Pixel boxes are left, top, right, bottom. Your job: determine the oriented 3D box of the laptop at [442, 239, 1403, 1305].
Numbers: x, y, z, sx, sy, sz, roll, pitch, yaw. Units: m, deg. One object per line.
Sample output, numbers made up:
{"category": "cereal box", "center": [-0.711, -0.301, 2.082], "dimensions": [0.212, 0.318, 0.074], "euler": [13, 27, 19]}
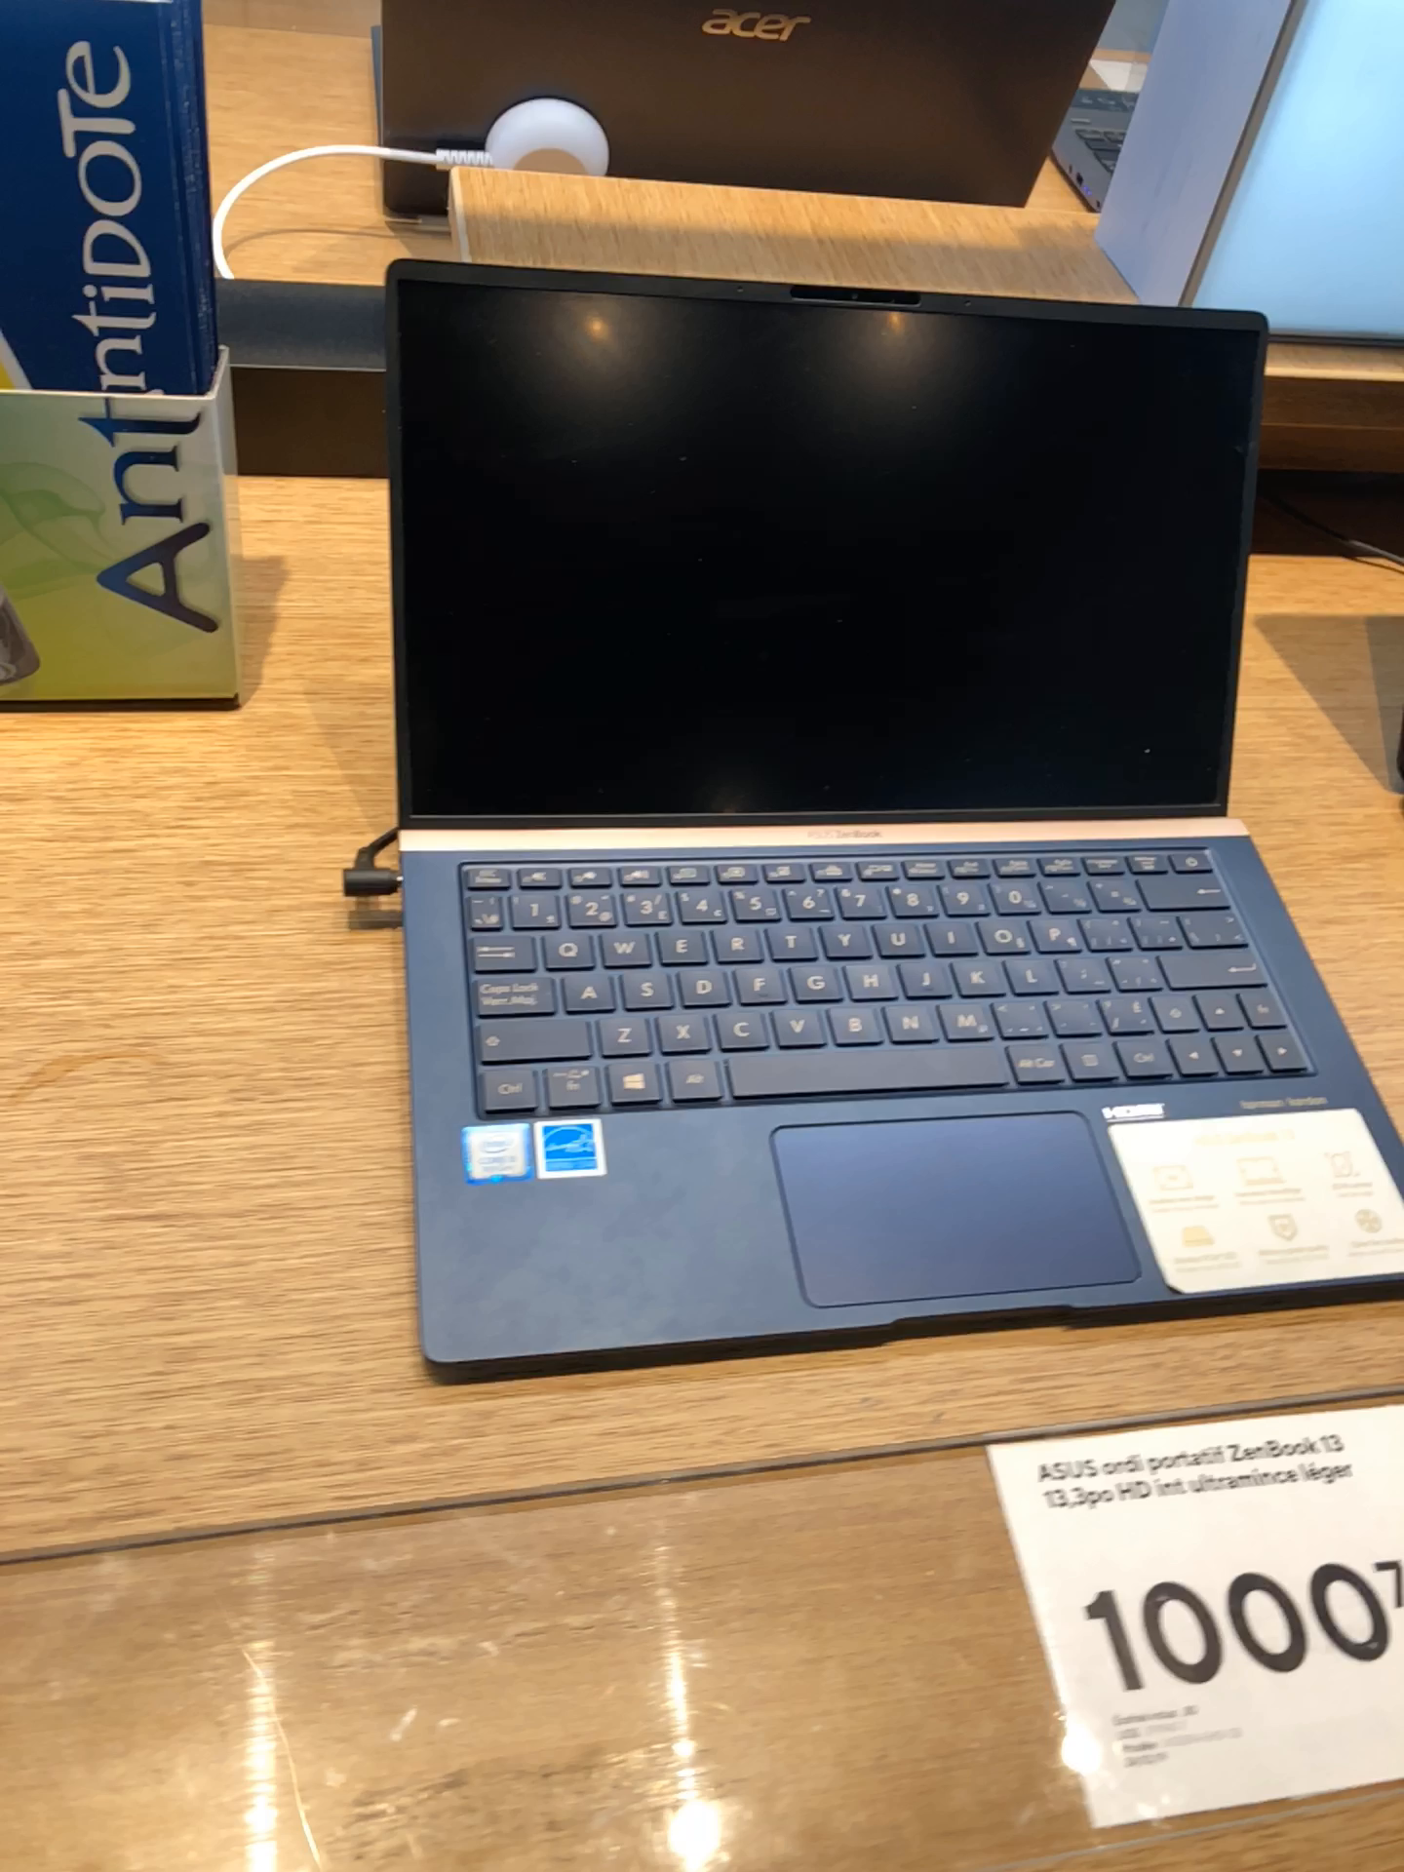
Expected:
{"category": "laptop", "center": [0.065, -0.065, 0.456], "dimensions": [0.276, 0.130, 0.277], "euler": [-2, 51, -10]}
